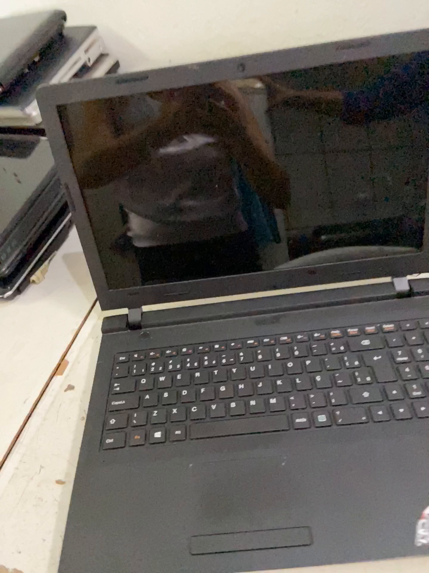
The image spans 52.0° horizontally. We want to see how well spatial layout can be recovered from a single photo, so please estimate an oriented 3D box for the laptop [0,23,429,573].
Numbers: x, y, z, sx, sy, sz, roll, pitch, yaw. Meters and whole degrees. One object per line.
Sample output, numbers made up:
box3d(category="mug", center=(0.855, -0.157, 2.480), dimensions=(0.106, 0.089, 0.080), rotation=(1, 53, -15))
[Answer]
box3d(category="laptop", center=(0.047, -0.003, 0.356), dimensions=(0.375, 0.230, 0.339), rotation=(-7, 45, 4))
